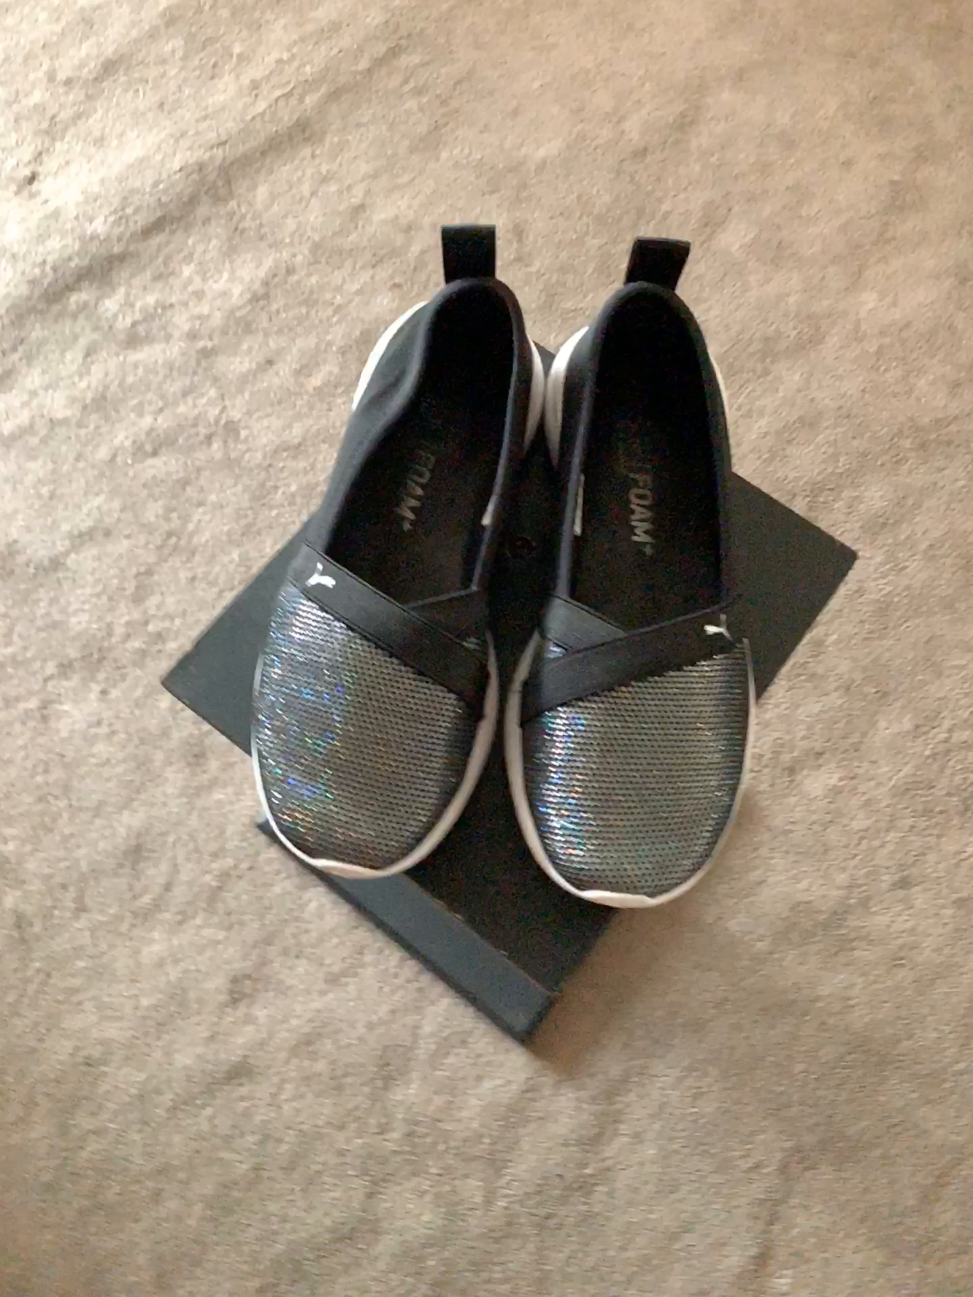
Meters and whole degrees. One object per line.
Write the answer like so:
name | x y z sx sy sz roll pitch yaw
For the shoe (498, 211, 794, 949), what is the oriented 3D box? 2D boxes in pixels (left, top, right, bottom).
shoe | 0.059 -0.025 0.396 0.090 0.080 0.260 4 84 -1

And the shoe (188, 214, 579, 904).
shoe | -0.034 -0.033 0.399 0.090 0.080 0.240 12 82 2
